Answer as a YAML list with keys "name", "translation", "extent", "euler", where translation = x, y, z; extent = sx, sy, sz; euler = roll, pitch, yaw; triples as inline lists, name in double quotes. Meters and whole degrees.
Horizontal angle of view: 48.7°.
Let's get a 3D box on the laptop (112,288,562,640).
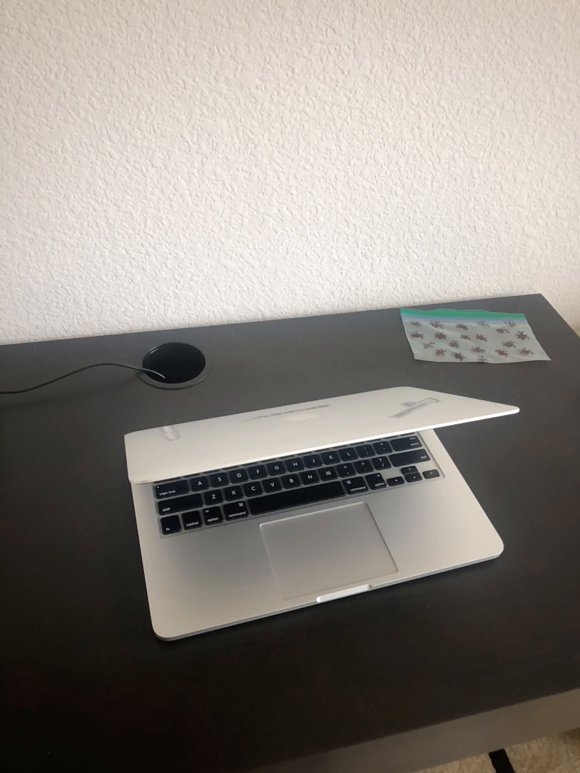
- name: "laptop"
  translation: [0.020, 0.048, 0.561]
  extent: [0.309, 0.133, 0.225]
  euler: [-9, 43, -14]
